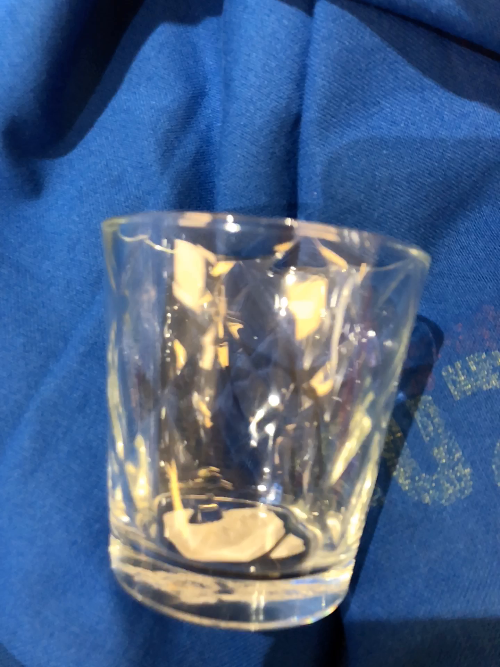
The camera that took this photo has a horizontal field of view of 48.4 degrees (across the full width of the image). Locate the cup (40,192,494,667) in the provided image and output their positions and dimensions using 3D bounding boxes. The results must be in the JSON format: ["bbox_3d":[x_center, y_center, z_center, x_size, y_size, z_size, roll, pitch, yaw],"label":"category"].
[{"bbox_3d":[0.003,0.018,0.143,0.080,0.070,0.090,6,96,3],"label":"cup"}]
